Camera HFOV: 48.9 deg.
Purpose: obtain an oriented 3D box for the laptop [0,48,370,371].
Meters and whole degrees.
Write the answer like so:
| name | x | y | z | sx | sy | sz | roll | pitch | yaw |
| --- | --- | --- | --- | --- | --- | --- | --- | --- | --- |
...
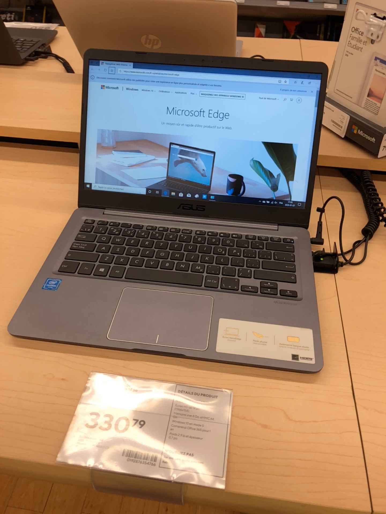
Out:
| name | x | y | z | sx | sy | sz | roll | pitch | yaw |
| --- | --- | --- | --- | --- | --- | --- | --- | --- | --- |
| laptop | -0.009 | -0.082 | 0.484 | 0.309 | 0.172 | 0.328 | 6 | 44 | 5 |
